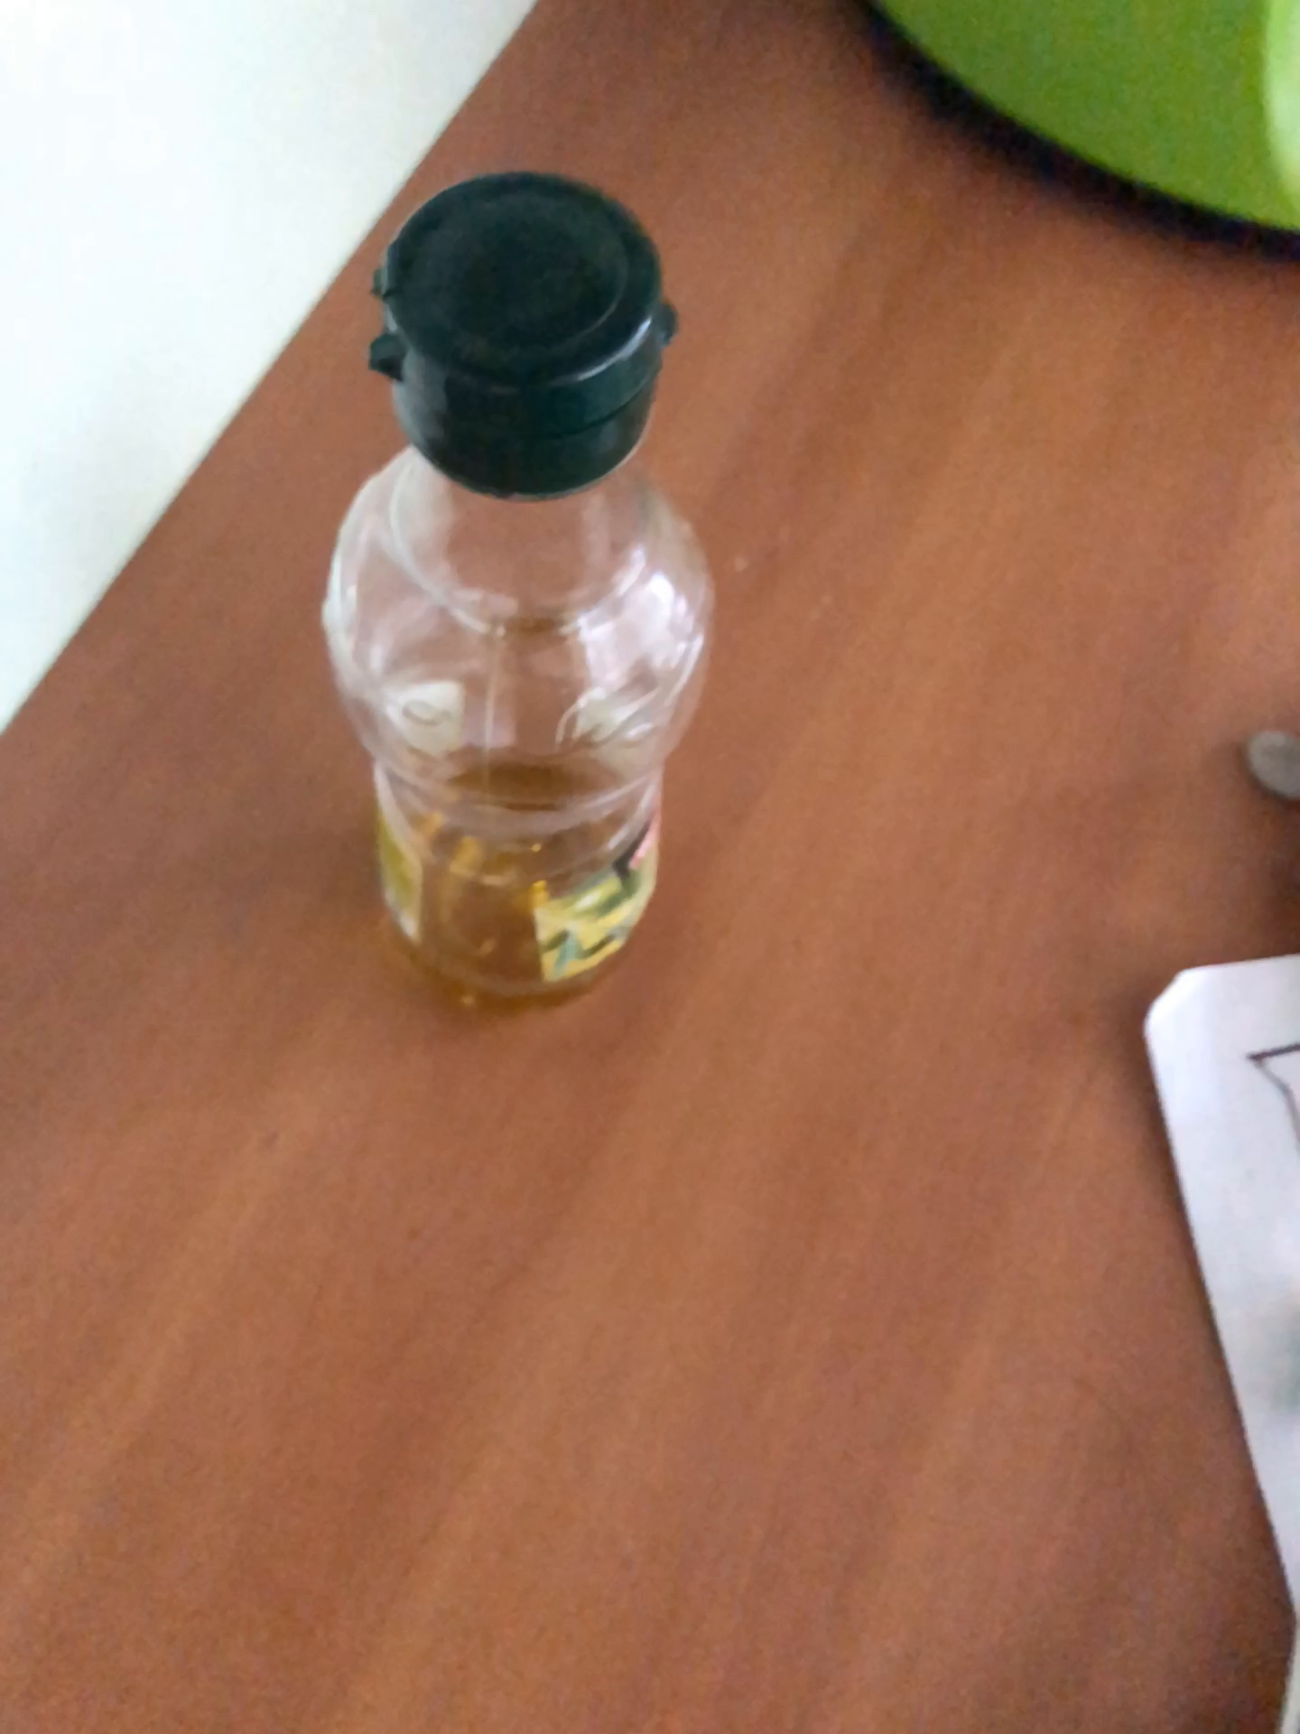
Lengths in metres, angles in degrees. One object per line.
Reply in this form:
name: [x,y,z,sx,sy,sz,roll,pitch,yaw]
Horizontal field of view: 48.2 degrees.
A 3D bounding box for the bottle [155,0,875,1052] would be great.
bottle: [-0.023,-0.033,0.280,0.070,0.239,0.070,2,69,-5]
